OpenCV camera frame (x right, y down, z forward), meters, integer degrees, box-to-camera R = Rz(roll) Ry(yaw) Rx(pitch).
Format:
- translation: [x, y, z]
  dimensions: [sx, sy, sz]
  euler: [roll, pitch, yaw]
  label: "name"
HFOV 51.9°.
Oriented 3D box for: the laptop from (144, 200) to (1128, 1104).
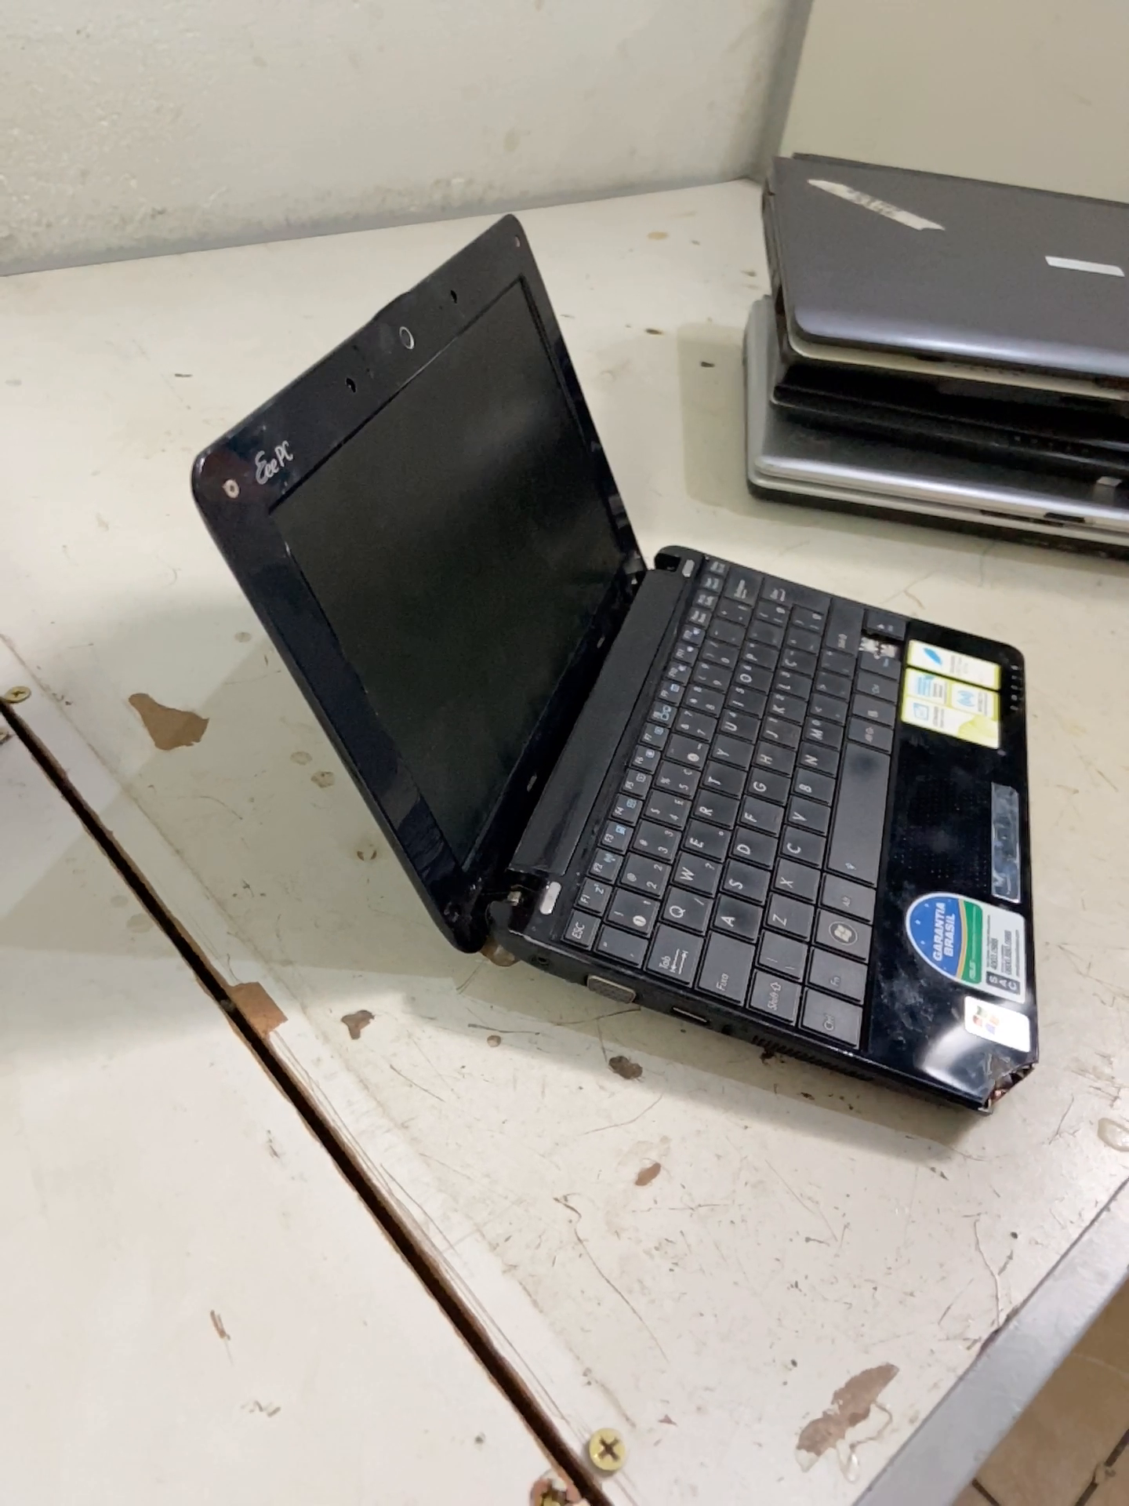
- translation: [0.052, -0.063, 0.415]
  dimensions: [0.265, 0.131, 0.260]
  euler: [18, 41, 7]
  label: "laptop"
